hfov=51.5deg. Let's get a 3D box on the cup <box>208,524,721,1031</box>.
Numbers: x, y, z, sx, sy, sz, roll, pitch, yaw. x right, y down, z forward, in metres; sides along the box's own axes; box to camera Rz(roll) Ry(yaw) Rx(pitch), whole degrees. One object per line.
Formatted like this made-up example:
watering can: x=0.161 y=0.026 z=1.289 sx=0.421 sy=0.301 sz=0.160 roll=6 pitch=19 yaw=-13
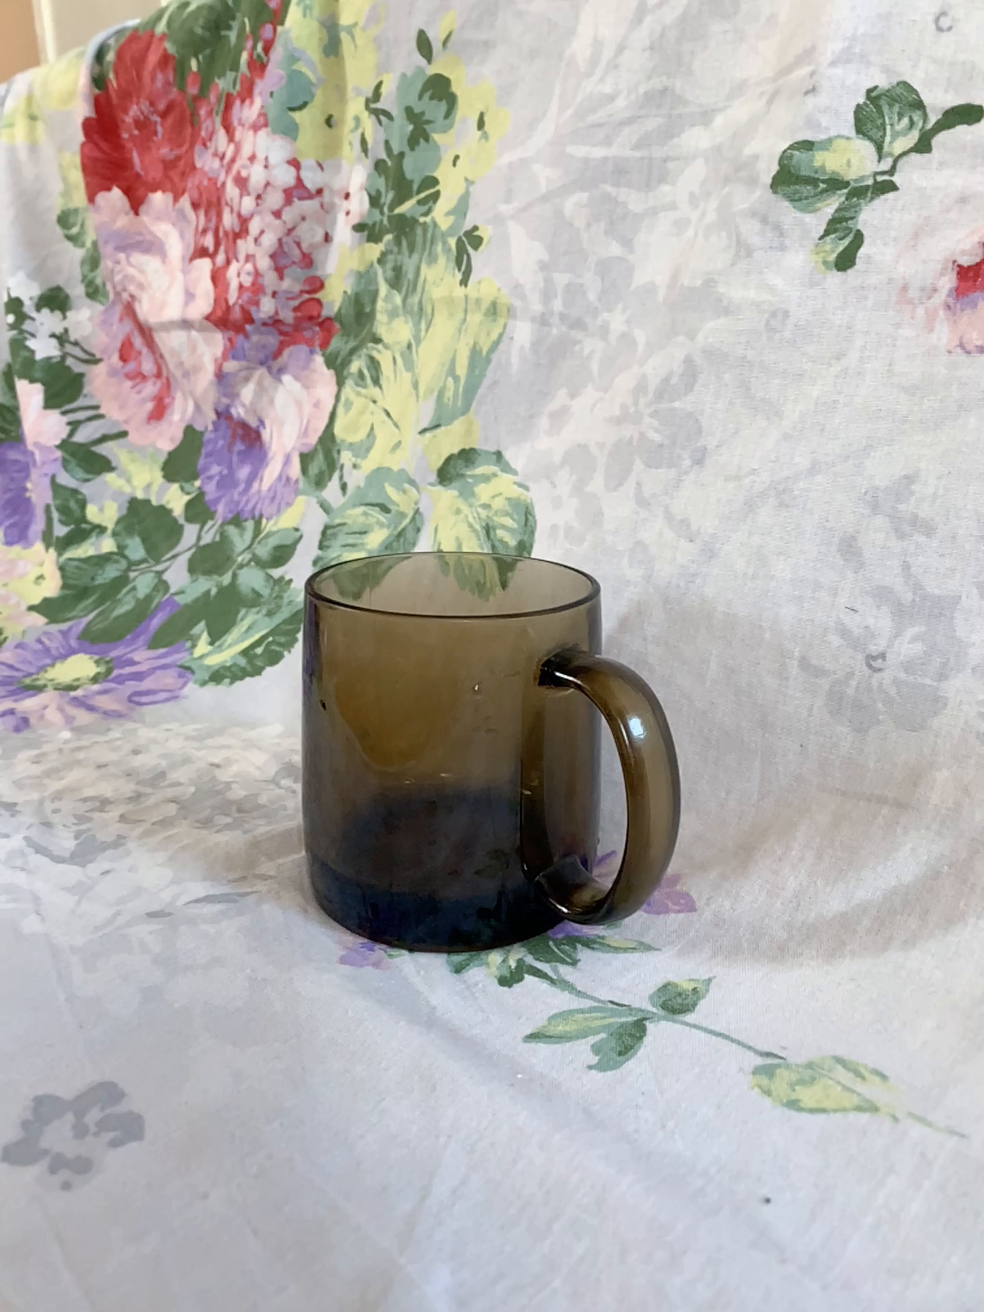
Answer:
cup: x=-0.010 y=0.021 z=0.294 sx=0.120 sy=0.099 sz=0.081 roll=13 pitch=20 yaw=41
